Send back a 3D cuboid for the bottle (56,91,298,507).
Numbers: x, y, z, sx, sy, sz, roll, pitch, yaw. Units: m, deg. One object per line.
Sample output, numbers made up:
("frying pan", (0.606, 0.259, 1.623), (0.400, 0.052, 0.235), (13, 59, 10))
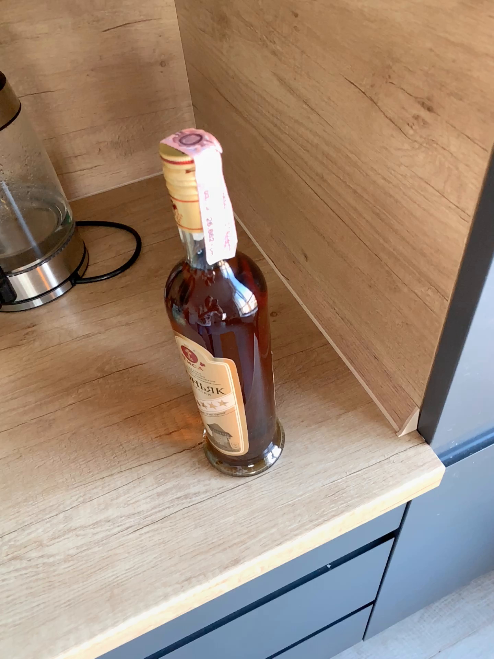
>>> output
("bottle", (-0.022, 0.007, 0.331), (0.080, 0.279, 0.070), (29, 57, 29))
